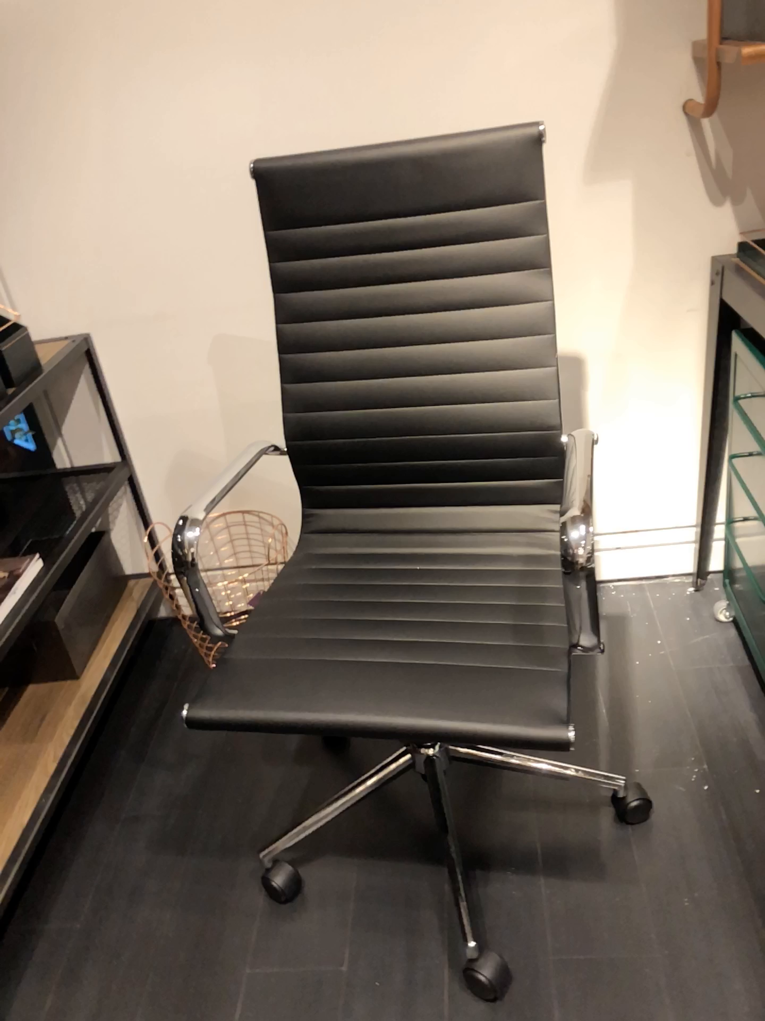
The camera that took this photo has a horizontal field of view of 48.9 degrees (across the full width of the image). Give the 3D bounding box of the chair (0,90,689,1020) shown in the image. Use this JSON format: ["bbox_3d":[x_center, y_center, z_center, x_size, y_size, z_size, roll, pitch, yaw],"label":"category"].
[{"bbox_3d":[0.043,0.058,1.219,0.680,1.052,0.665,-1,31,16],"label":"chair"}]
